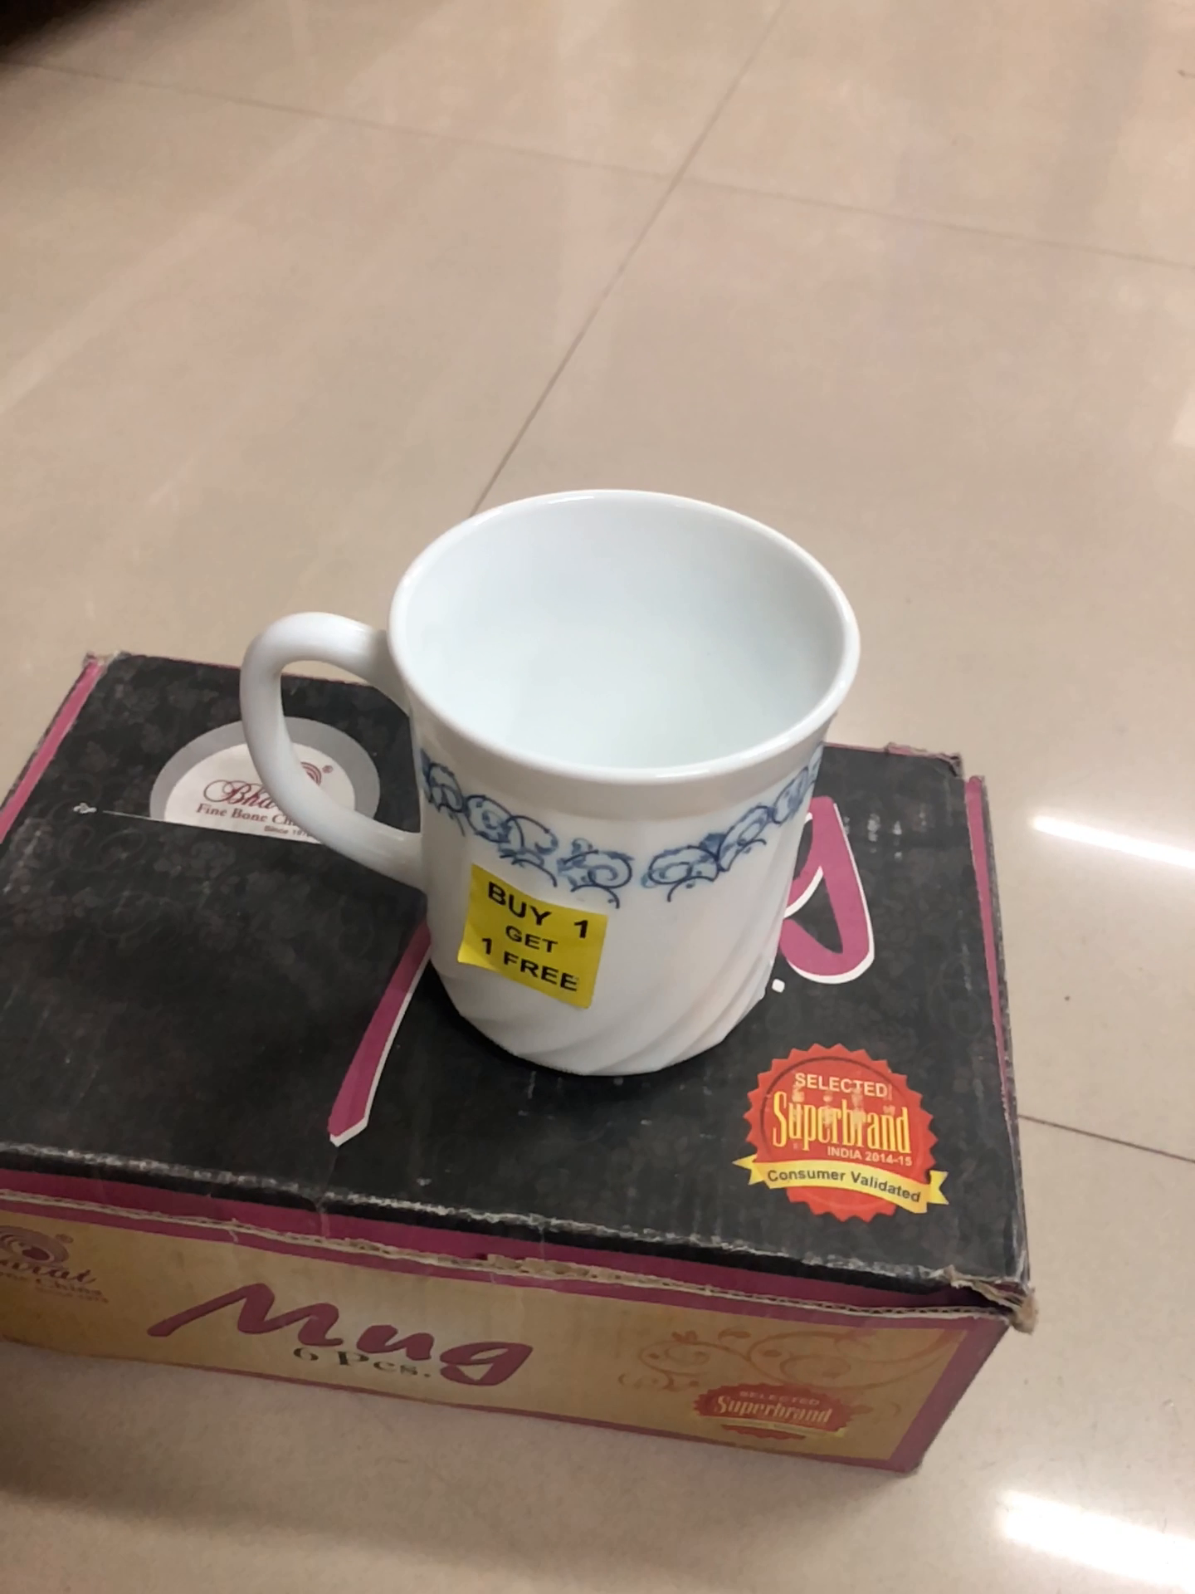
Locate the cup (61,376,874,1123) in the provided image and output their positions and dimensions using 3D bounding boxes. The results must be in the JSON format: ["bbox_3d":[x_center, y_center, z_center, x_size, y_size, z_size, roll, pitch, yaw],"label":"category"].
[{"bbox_3d":[-0.017,-0.010,0.258,0.120,0.089,0.091,9,45,4],"label":"cup"}]
